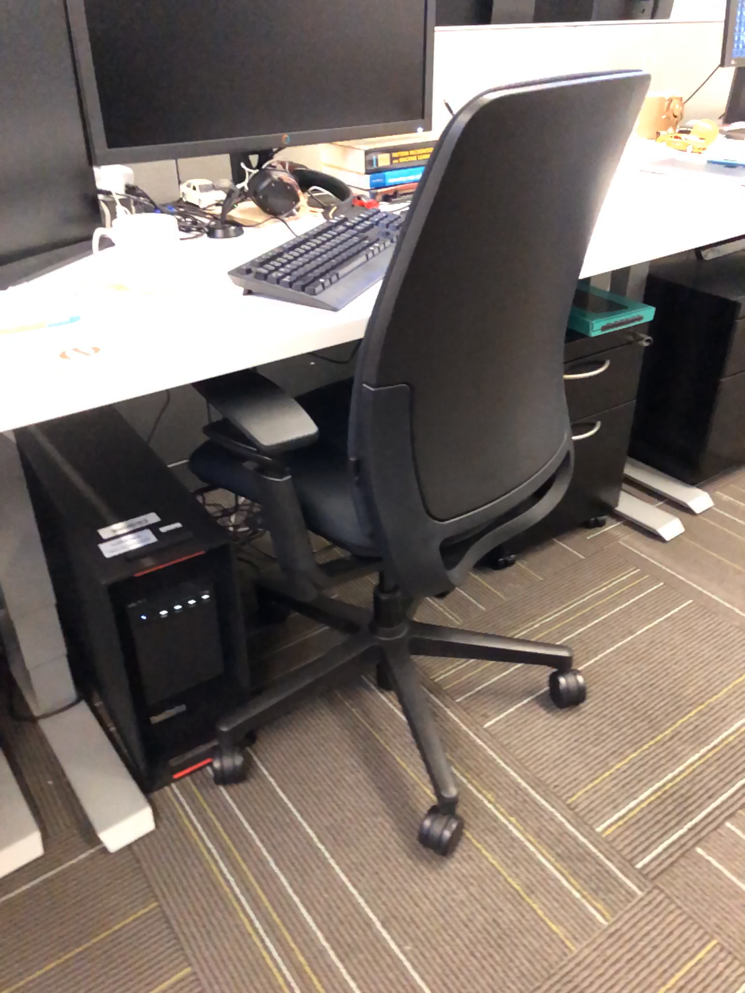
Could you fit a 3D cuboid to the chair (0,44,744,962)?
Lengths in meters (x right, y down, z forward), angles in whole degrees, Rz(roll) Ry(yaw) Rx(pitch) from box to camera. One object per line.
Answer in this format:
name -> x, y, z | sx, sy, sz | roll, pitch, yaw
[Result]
chair -> 0.021, -0.083, 1.261 | 0.722, 1.044, 0.712 | 26, 40, 37
